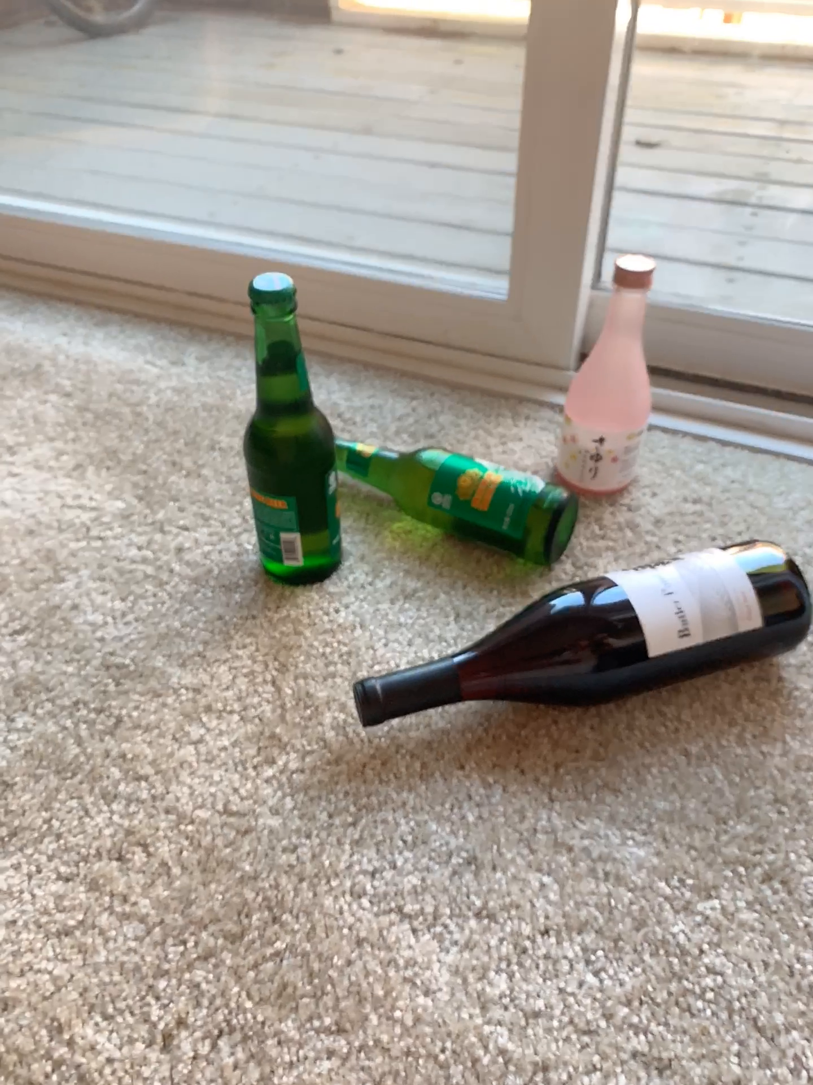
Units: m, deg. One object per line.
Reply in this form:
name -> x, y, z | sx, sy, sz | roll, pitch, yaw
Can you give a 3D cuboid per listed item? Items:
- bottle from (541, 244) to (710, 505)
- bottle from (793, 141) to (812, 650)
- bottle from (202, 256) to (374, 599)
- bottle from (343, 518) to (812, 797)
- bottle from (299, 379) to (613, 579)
bottle -> 0.160, -0.126, 0.649 | 0.070, 0.169, 0.080 | -11, 41, -13
bottle -> 0.339, -0.074, 0.516 | 0.080, 0.288, 0.091 | -11, 41, -13
bottle -> -0.073, -0.070, 0.555 | 0.080, 0.199, 0.080 | 0, 40, 0
bottle -> 0.113, 0.060, 0.494 | 0.290, 0.060, 0.070 | -13, 41, -15
bottle -> 0.031, -0.053, 0.641 | 0.231, 0.060, 0.060 | 22, 45, 24
